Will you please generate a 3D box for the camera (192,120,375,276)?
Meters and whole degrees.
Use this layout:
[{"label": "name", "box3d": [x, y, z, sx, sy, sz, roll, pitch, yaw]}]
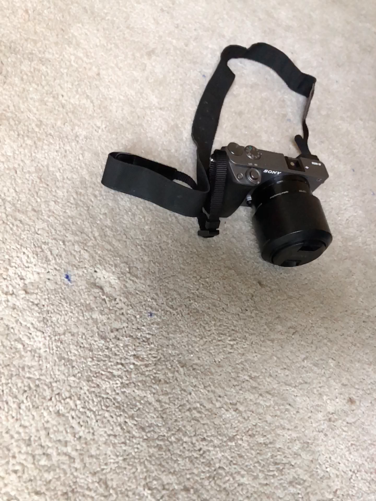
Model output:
[{"label": "camera", "box3d": [0.089, -0.047, 0.418, 0.130, 0.080, 0.120, 3, 59, -24]}]
